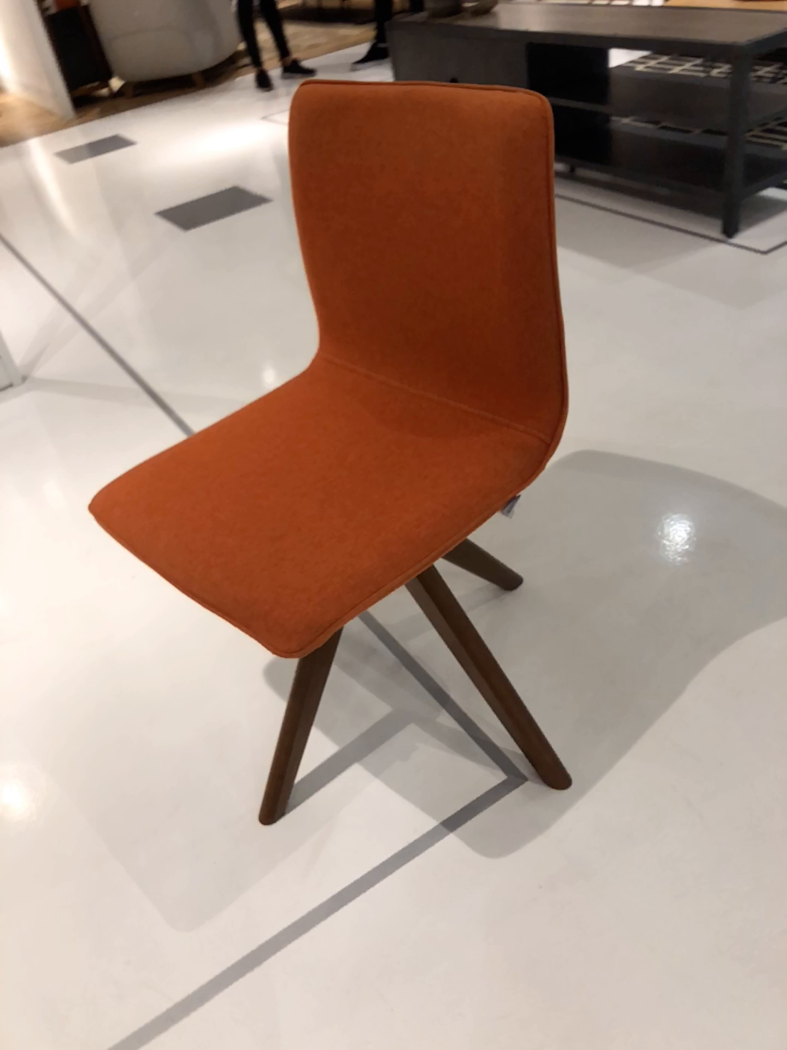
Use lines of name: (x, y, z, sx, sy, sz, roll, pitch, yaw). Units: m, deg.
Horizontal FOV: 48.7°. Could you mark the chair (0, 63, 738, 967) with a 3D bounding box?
chair: (-0.034, -0.069, 1.108, 0.612, 0.794, 0.613, -36, 43, -29)
